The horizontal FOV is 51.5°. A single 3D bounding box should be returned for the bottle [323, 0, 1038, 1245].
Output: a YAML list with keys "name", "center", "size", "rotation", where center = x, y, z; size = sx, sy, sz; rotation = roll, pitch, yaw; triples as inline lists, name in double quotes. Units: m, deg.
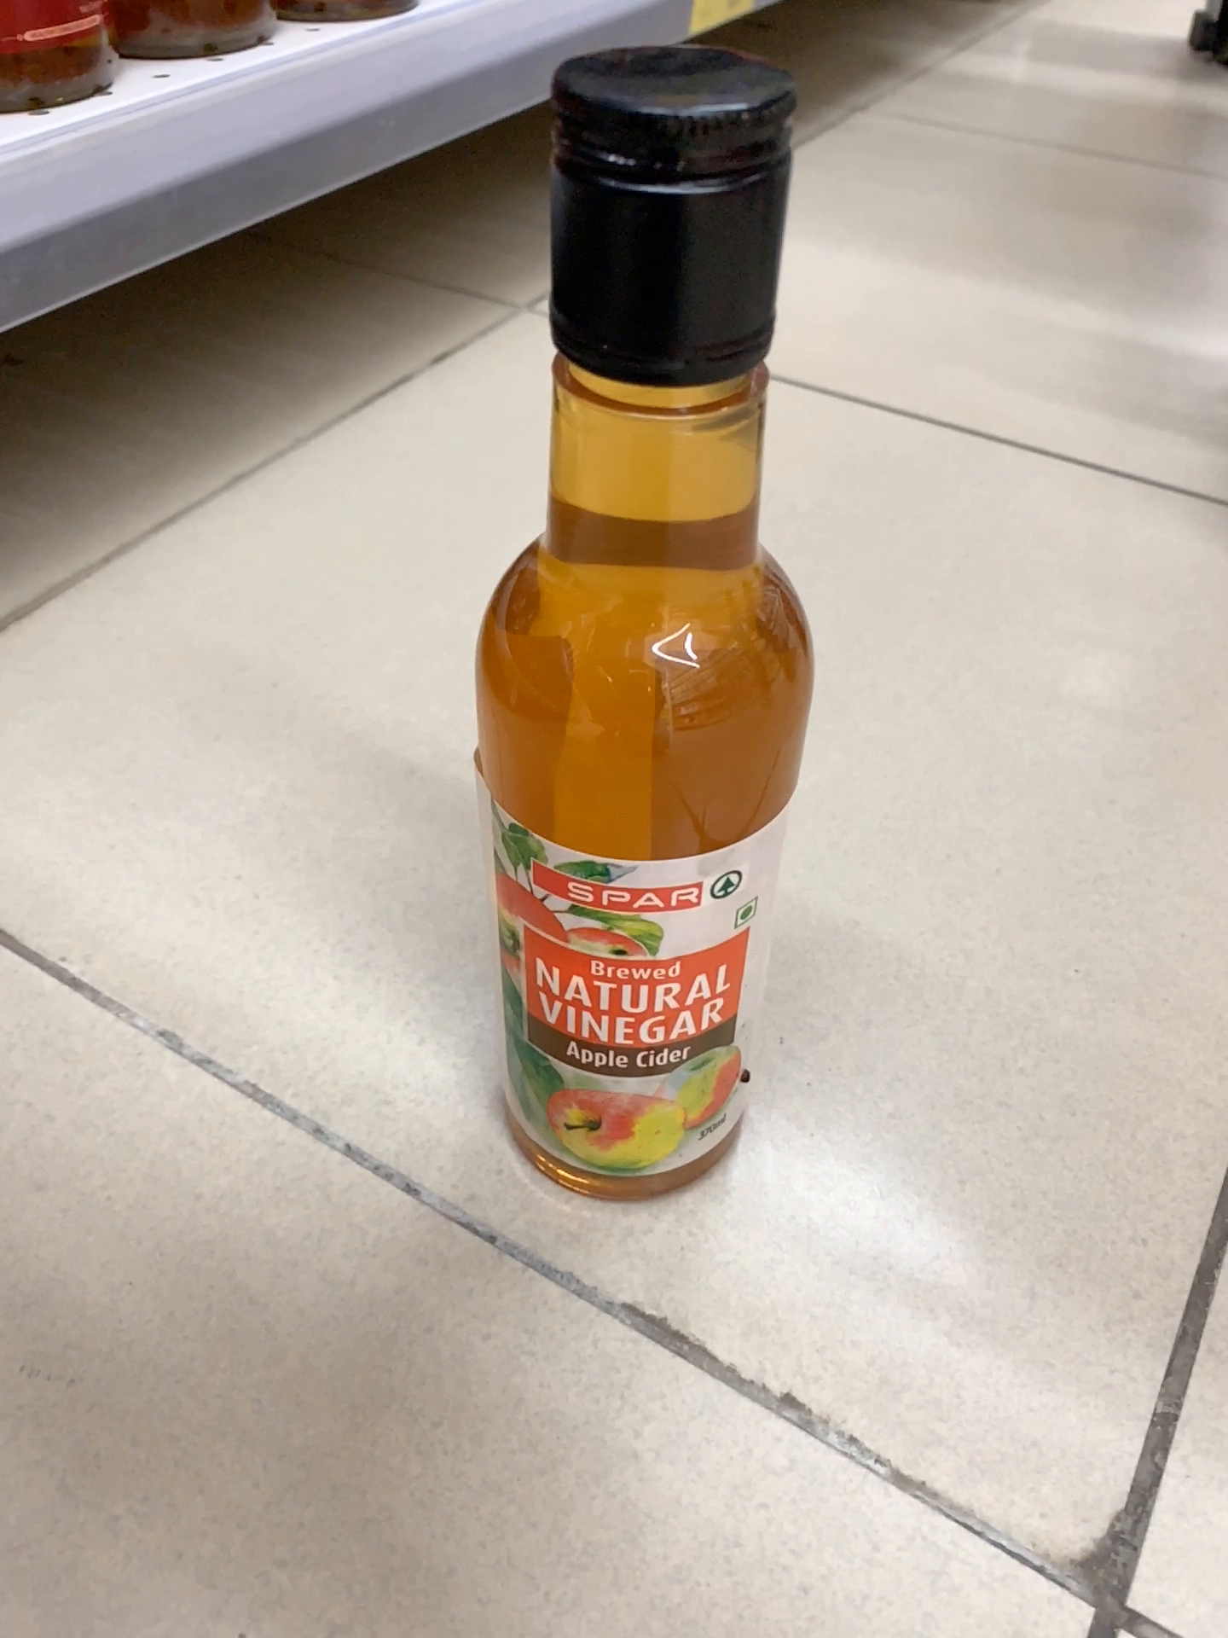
- name: "bottle"
  center: [0.009, -0.012, 0.221]
  size: [0.070, 0.219, 0.060]
  rotation: [6, 44, 6]
